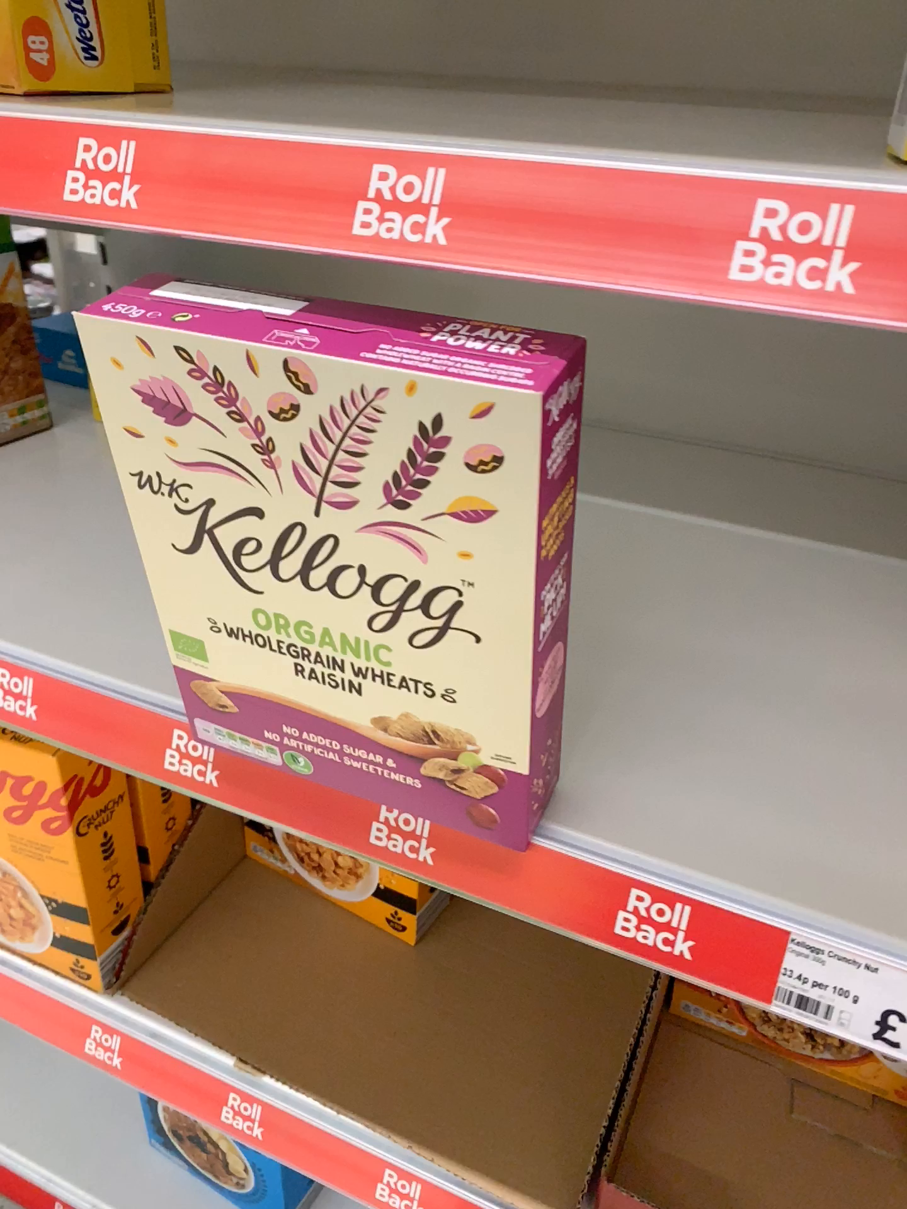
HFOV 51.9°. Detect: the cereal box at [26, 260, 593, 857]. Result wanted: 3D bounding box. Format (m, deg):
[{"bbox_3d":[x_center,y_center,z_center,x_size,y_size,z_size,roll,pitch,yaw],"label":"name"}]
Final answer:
[{"bbox_3d":[-0.052,-0.017,0.398,0.200,0.218,0.061,13,39,20],"label":"cereal box"}]
